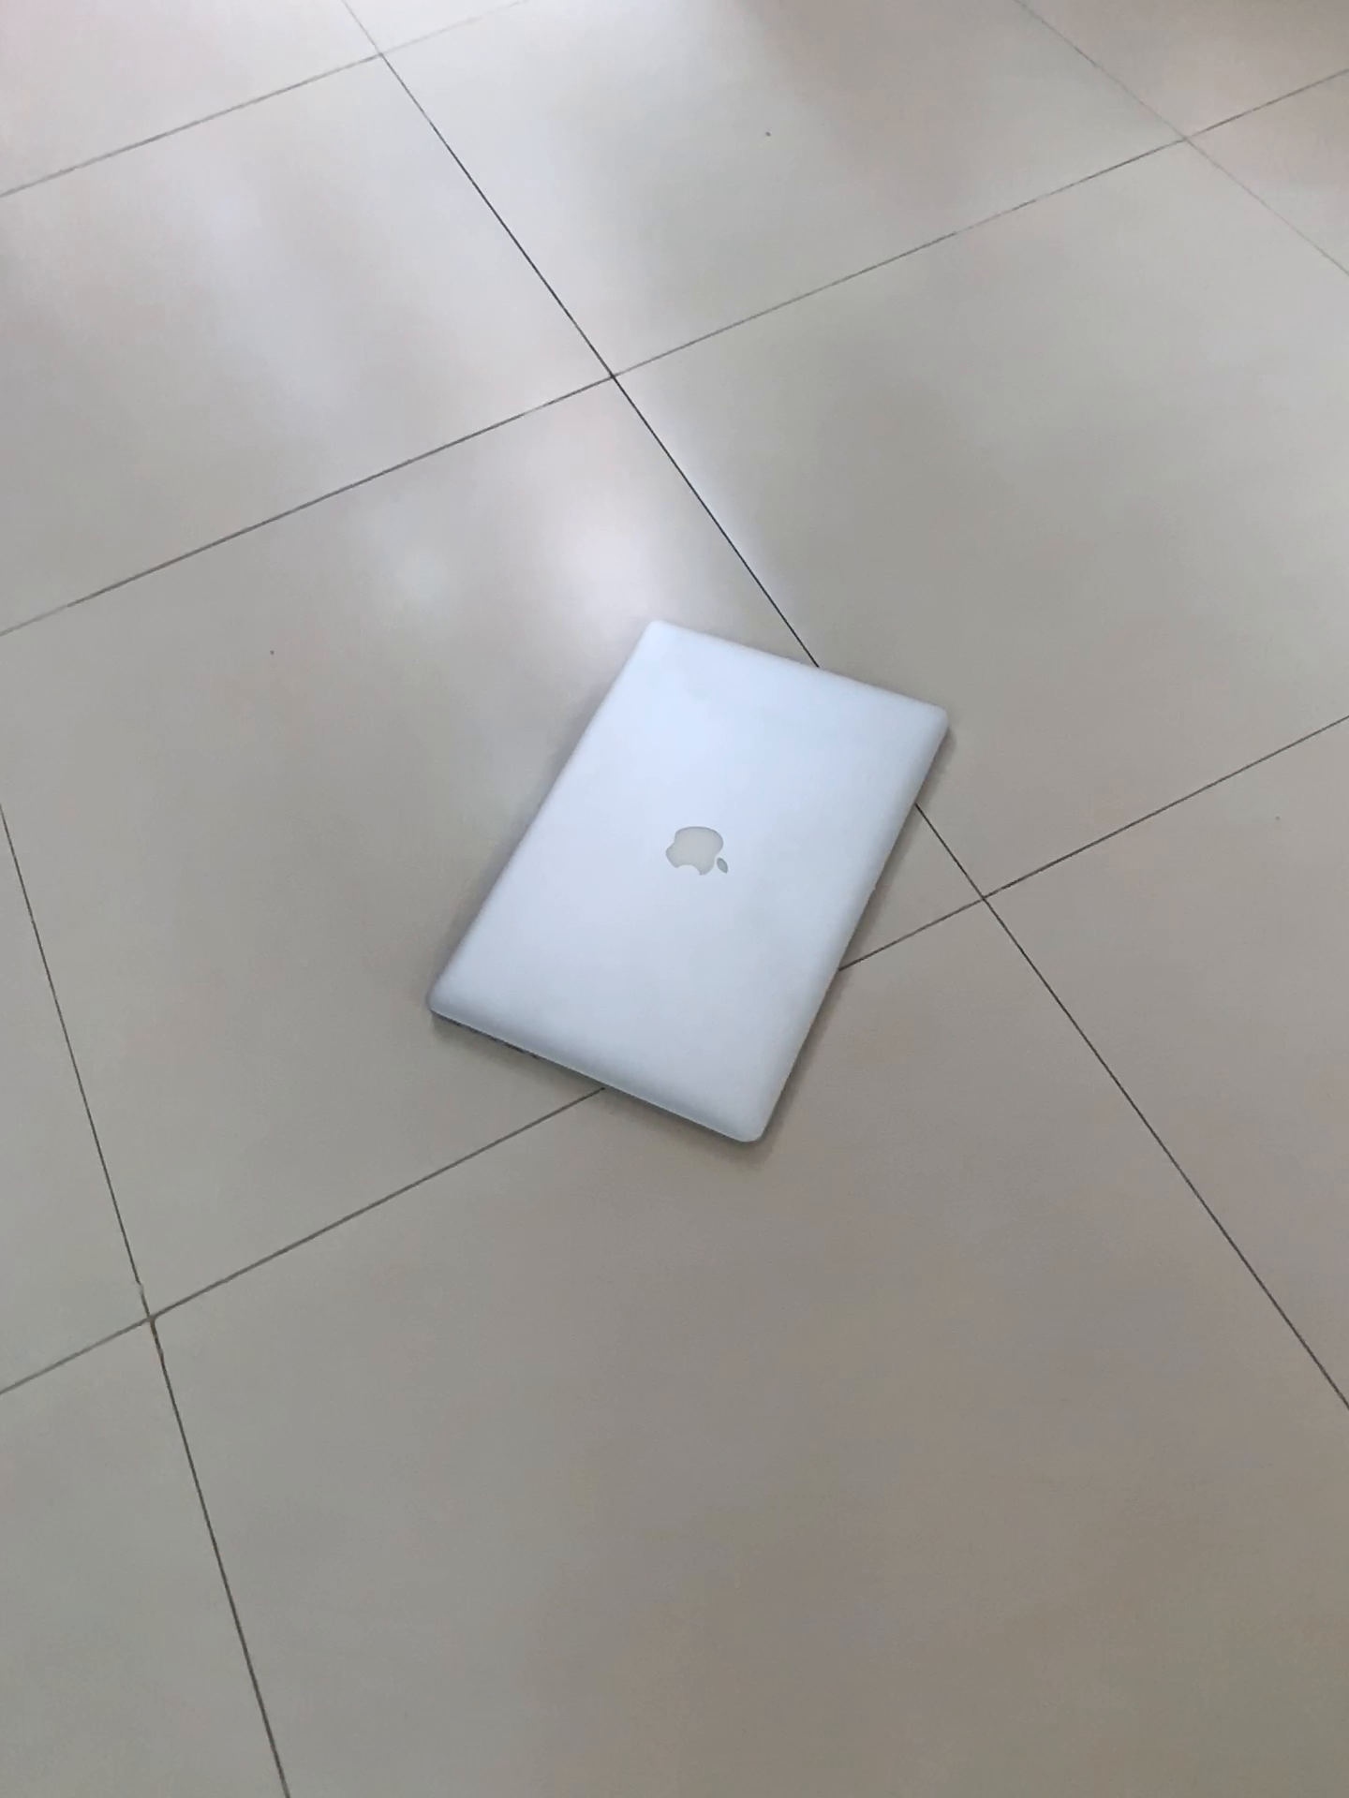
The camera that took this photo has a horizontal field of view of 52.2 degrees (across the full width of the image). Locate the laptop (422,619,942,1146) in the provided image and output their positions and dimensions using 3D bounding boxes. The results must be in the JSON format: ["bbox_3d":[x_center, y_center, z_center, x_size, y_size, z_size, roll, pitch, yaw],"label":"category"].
[{"bbox_3d":[0.013,-0.031,0.965,0.239,0.001,0.356,20,66,16],"label":"laptop"}]
